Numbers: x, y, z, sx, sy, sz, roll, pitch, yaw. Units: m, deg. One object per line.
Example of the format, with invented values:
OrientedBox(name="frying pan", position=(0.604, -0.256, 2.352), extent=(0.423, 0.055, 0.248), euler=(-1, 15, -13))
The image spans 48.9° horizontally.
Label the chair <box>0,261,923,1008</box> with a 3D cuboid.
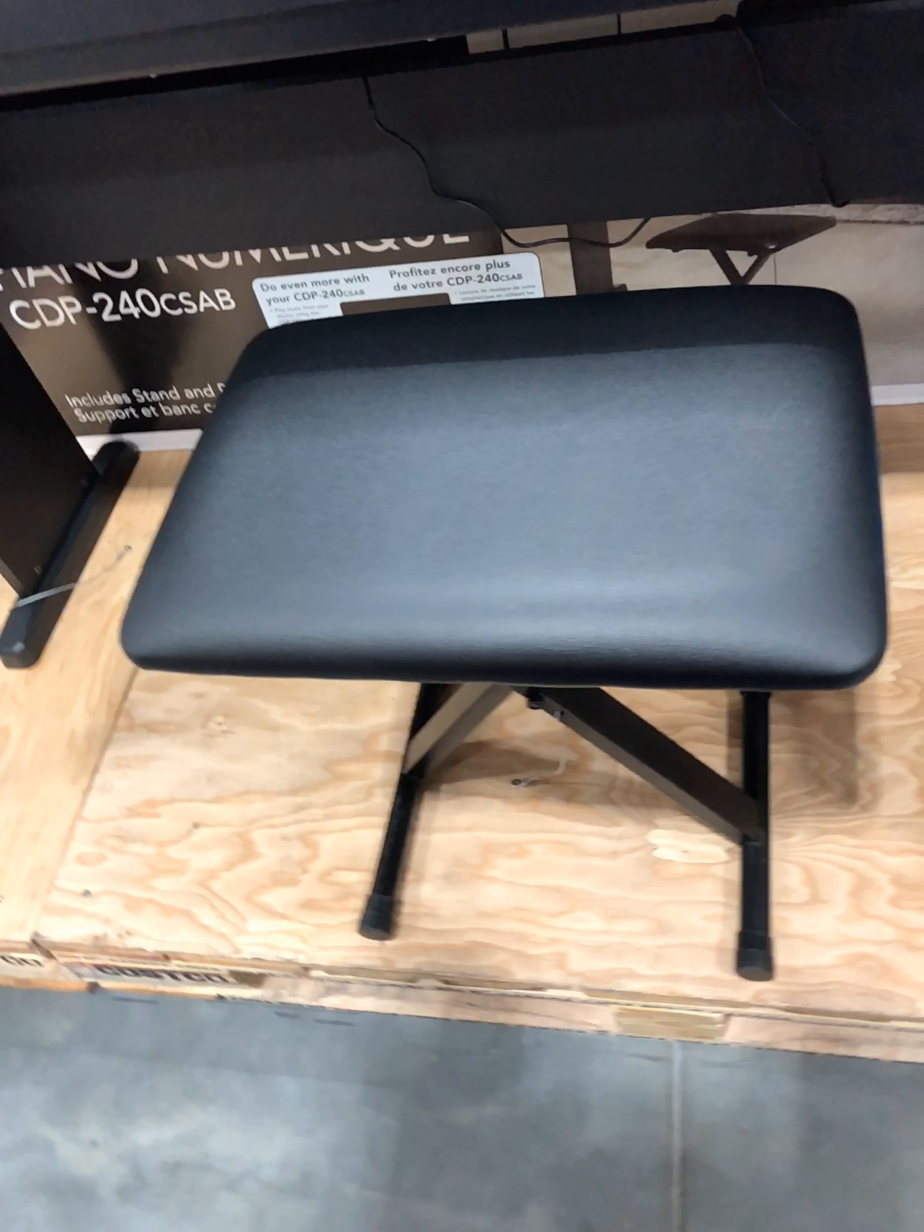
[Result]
OrientedBox(name="chair", position=(0.027, 0.006, 0.695), extent=(0.510, 0.279, 0.371), euler=(1, 53, 14))
